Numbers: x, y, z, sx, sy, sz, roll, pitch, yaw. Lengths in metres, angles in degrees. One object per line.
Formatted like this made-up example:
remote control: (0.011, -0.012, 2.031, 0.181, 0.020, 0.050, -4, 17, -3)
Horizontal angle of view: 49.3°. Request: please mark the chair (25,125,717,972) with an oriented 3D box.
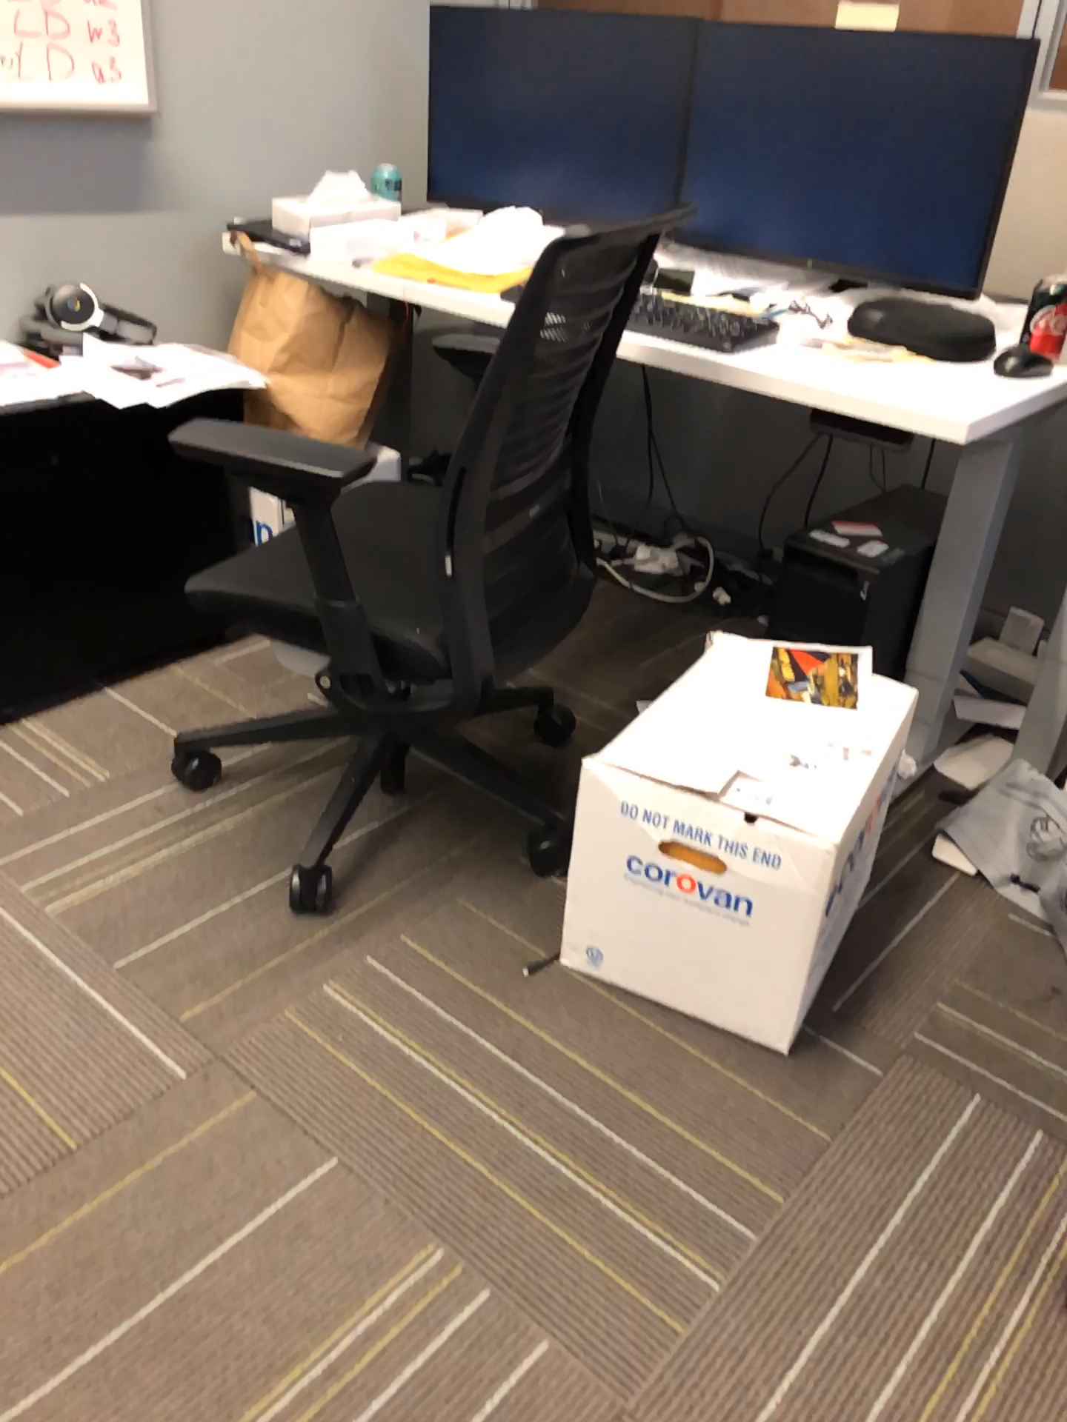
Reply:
chair: (-0.179, -0.283, 1.667, 0.610, 0.935, 0.673, 14, 30, 16)
